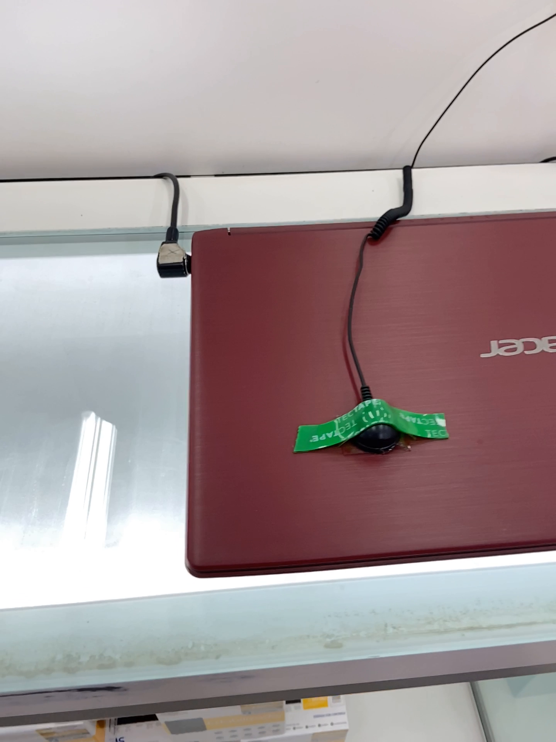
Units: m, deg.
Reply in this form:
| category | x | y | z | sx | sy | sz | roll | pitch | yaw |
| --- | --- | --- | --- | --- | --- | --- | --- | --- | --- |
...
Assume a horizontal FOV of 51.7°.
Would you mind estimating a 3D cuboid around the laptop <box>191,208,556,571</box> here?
| category | x | y | z | sx | sy | sz | roll | pitch | yaw |
| --- | --- | --- | --- | --- | --- | --- | --- | --- | --- |
| laptop | 0.136 | -0.022 | 0.342 | 0.368 | 0.006 | 0.263 | -3 | 45 | -4 |
